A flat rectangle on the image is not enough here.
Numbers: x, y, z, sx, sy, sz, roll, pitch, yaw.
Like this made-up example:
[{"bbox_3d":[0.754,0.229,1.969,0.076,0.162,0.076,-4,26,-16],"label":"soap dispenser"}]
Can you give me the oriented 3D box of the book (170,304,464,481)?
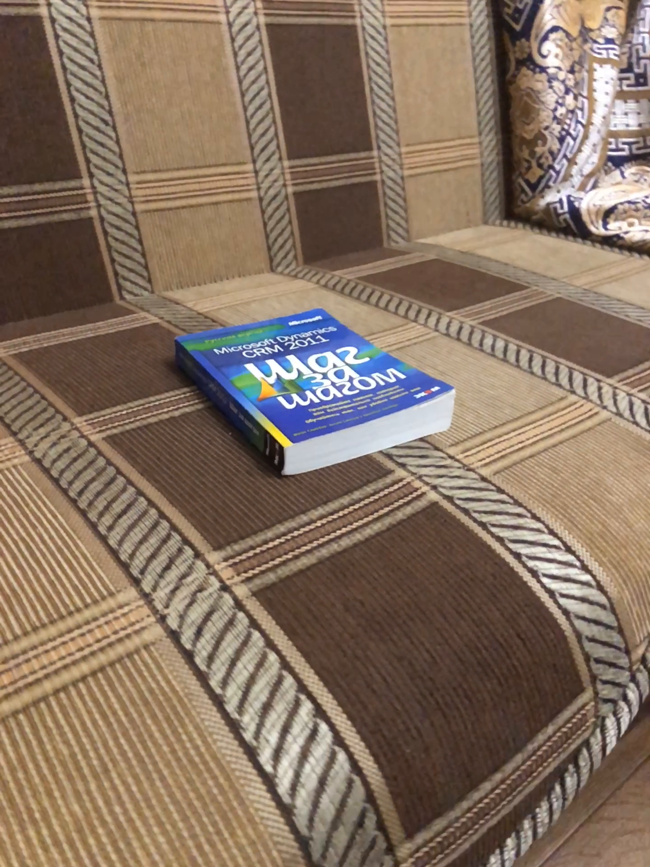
[{"bbox_3d":[-0.015,-0.045,0.572,0.151,0.030,0.201,-16,36,-28],"label":"book"}]
